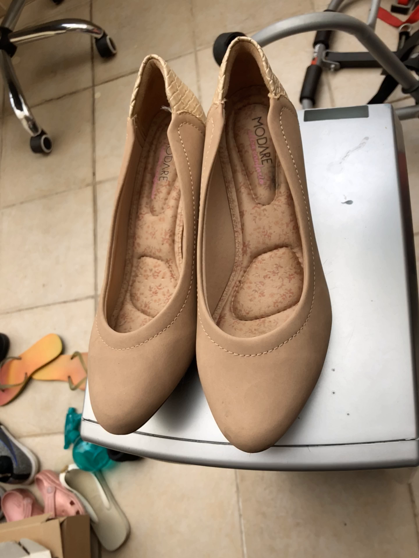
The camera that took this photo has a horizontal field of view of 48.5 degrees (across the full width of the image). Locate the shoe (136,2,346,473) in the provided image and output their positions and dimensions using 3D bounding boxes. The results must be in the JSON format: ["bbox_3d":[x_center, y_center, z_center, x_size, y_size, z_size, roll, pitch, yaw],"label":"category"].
[{"bbox_3d":[0.032,-0.019,0.297,0.090,0.120,0.244,-3,74,20],"label":"shoe"}]

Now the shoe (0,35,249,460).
[{"bbox_3d":[-0.043,-0.016,0.324,0.090,0.120,0.244,2,76,21],"label":"shoe"}]
